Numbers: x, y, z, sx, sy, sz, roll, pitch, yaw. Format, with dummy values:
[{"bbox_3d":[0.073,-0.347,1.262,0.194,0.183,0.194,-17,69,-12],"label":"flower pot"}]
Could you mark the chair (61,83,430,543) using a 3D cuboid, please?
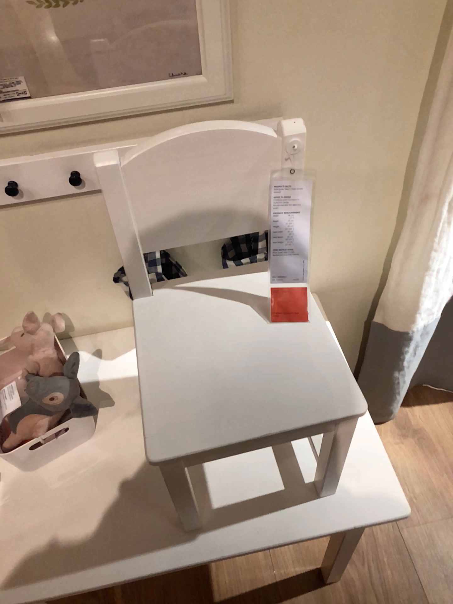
[{"bbox_3d":[0.003,0.056,0.711,0.300,0.557,0.322,-12,49,-6],"label":"chair"}]
